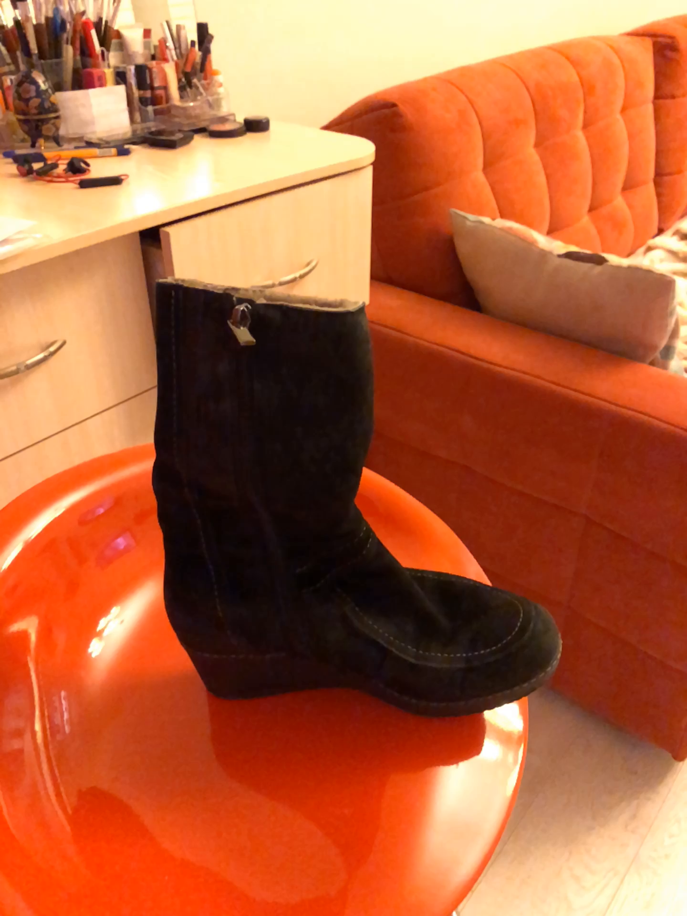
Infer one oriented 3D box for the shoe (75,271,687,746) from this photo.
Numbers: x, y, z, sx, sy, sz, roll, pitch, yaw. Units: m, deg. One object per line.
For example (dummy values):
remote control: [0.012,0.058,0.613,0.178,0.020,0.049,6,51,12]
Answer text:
shoe: [0.019,0.035,0.429,0.260,0.248,0.101,2,34,4]
